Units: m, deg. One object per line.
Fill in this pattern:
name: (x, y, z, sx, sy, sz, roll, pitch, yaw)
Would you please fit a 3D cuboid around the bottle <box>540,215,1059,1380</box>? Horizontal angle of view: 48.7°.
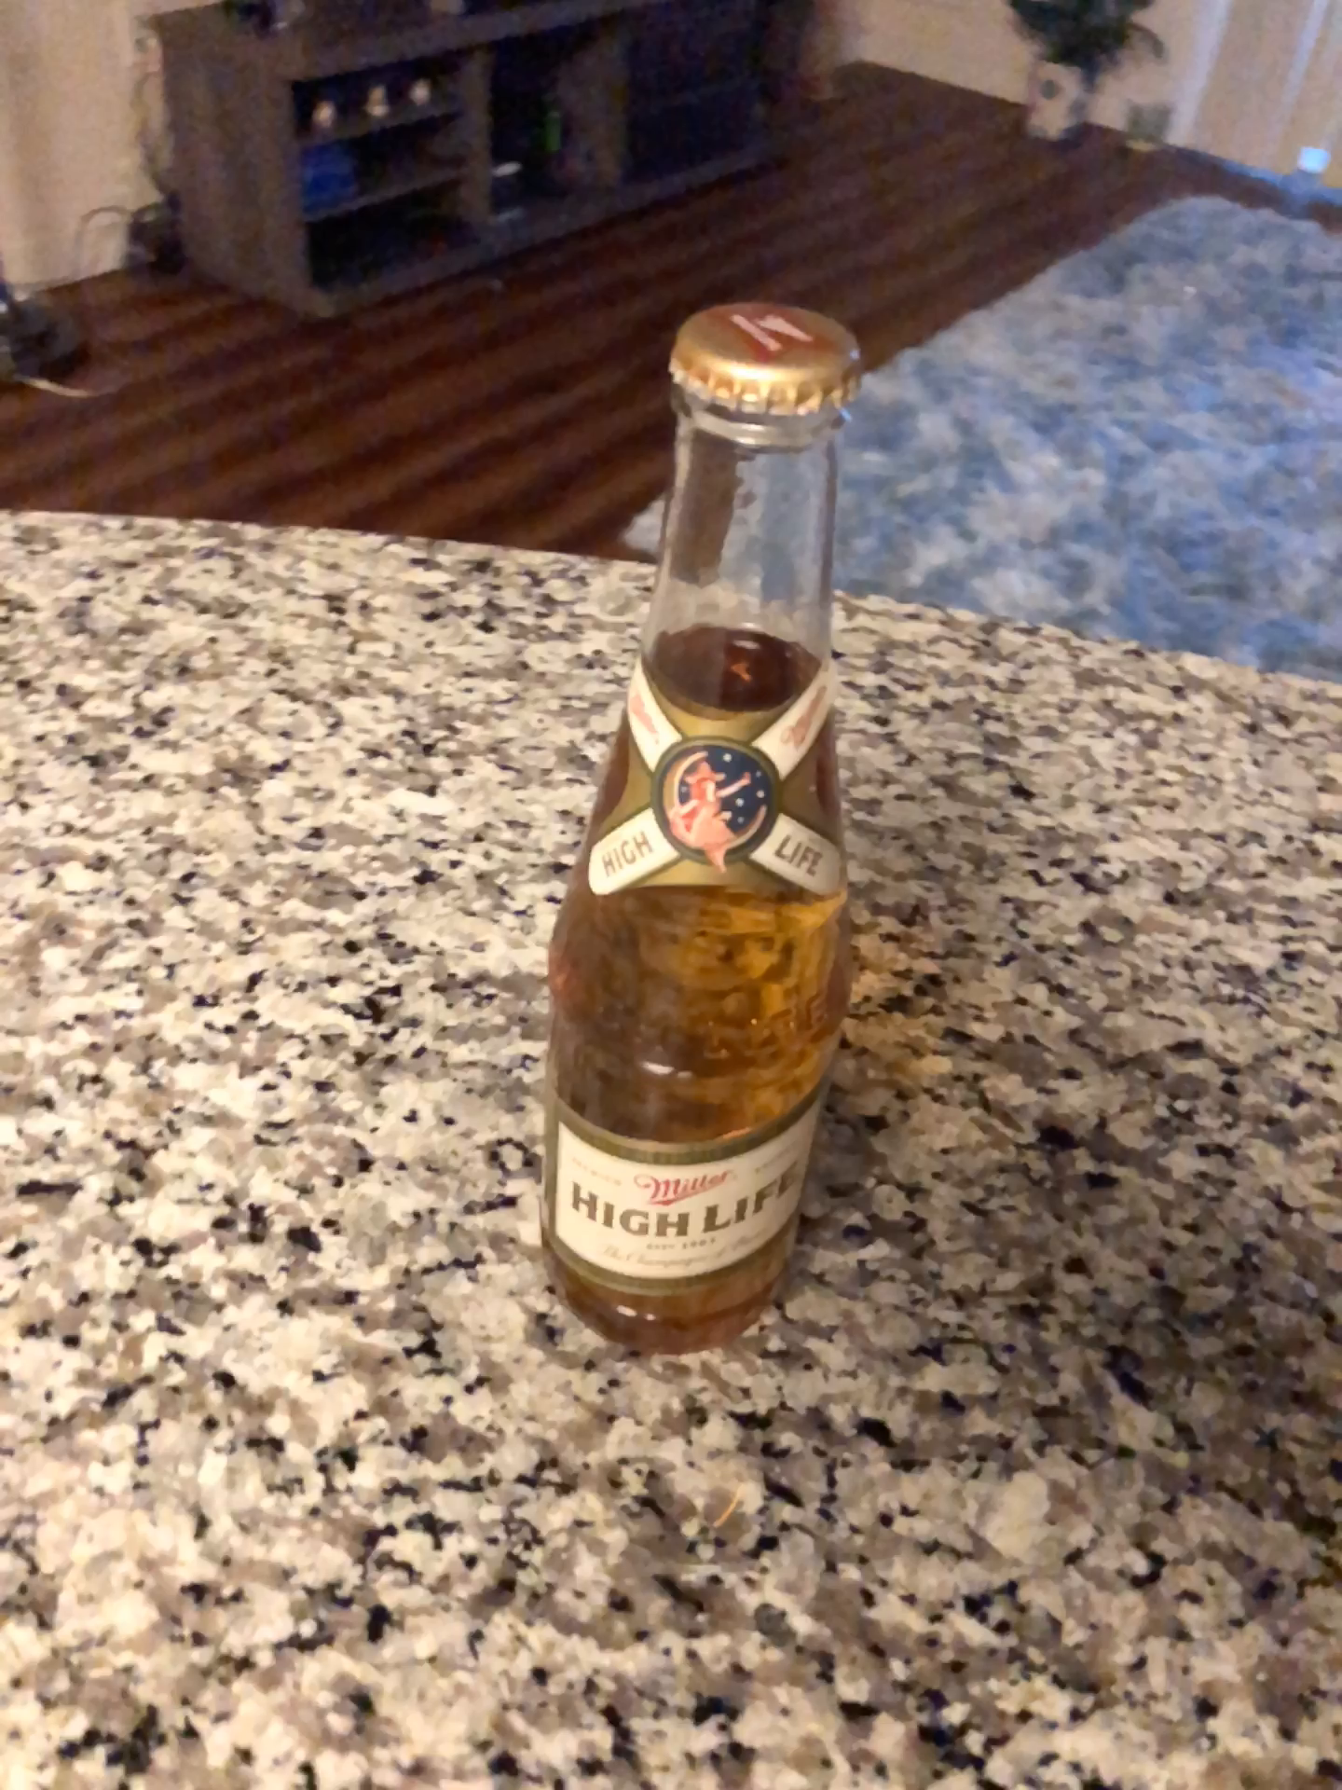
bottle: (0.008, 0.001, 0.289, 0.060, 0.229, 0.070, 0, 42, -7)
